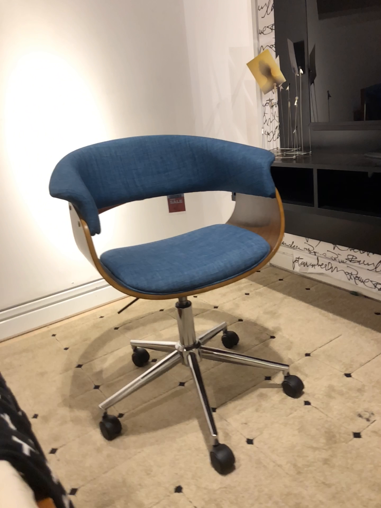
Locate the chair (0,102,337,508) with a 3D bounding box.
[{"bbox_3d":[-0.072,0.039,1.165,0.611,0.775,0.673,-16,21,-27],"label":"chair"}]
